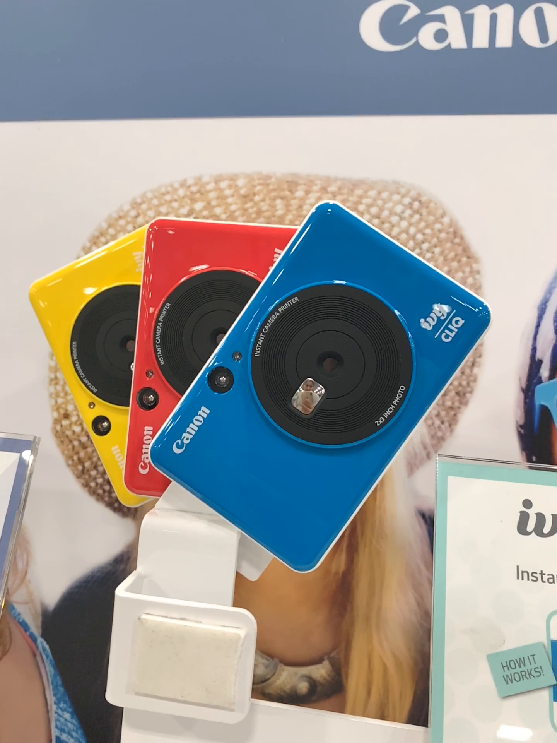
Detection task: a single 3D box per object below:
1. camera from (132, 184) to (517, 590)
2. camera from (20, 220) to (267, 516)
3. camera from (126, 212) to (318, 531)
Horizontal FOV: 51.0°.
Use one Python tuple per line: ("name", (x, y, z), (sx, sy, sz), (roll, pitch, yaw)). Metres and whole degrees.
("camera", (0.015, 0.005, 0.212), (0.078, 0.114, 0.030), (36, 5, 3))
("camera", (-0.064, -0.001, 0.287), (0.068, 0.123, 0.030), (-23, 4, 13))
("camera", (-0.024, -0.001, 0.251), (0.067, 0.123, 0.030), (6, 5, 11))
